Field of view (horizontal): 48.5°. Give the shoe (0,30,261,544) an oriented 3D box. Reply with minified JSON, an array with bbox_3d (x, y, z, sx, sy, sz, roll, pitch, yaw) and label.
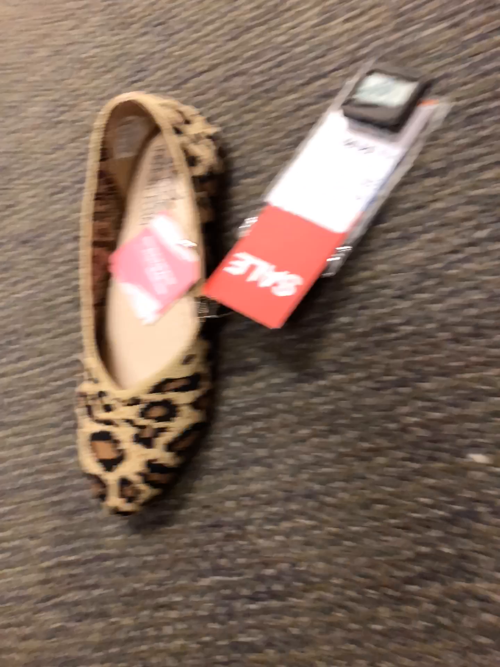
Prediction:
[{"bbox_3d":[-0.070,-0.024,0.324,0.105,0.085,0.253,0,78,25],"label":"shoe"}]
